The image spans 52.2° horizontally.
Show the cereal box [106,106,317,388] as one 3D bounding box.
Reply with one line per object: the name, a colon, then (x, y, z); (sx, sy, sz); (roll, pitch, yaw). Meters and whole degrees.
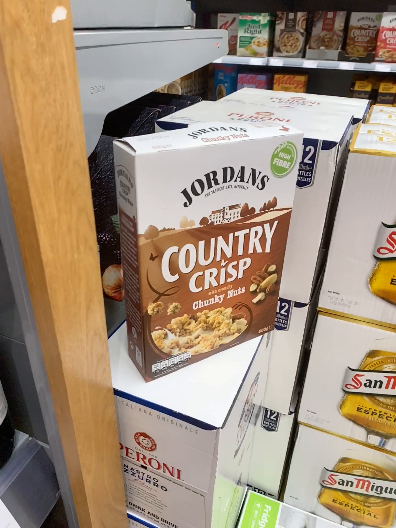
cereal box: (0.016, -0.018, 0.421); (0.191, 0.258, 0.050); (-16, 34, -28)
